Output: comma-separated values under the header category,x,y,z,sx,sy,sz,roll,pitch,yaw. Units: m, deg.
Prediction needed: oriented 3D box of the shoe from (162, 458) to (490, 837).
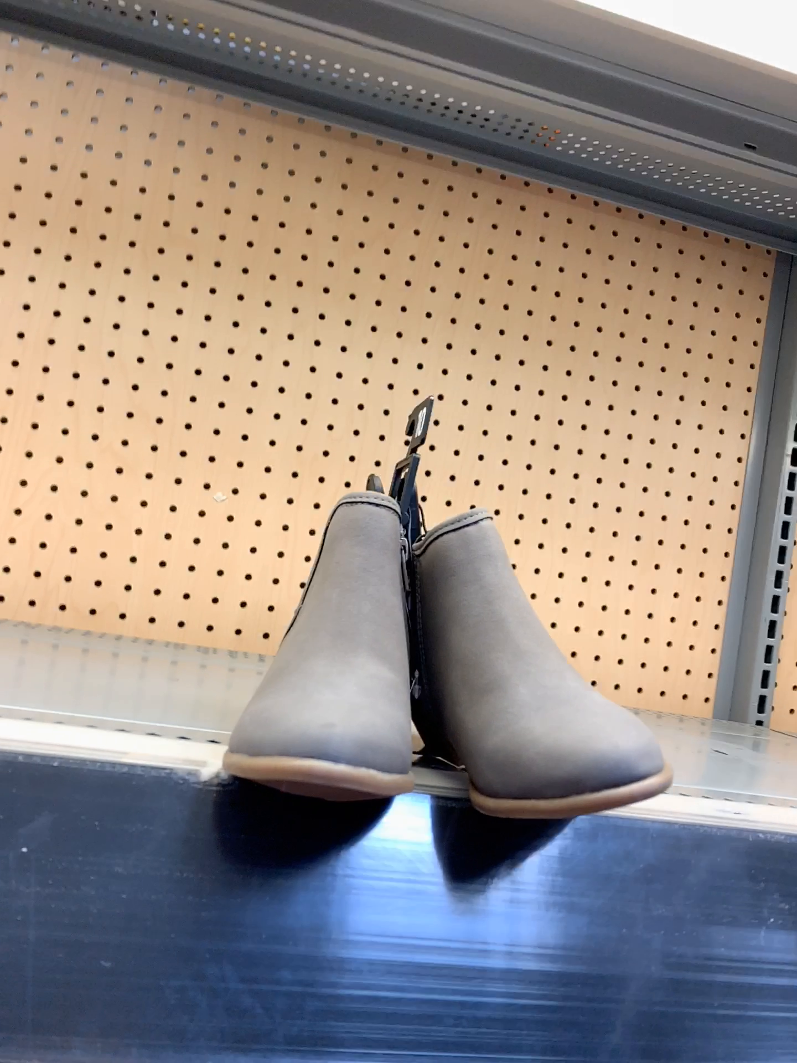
category,x,y,z,sx,sy,sz,roll,pitch,yaw
shoe,-0.021,0.038,0.342,0.087,0.103,0.196,6,-3,0

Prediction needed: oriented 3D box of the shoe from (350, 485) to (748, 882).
category,x,y,z,sx,sy,sz,roll,pitch,yaw
shoe,0.045,0.046,0.345,0.074,0.113,0.186,-6,0,-18
